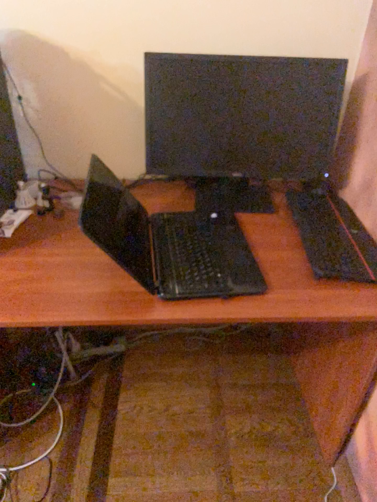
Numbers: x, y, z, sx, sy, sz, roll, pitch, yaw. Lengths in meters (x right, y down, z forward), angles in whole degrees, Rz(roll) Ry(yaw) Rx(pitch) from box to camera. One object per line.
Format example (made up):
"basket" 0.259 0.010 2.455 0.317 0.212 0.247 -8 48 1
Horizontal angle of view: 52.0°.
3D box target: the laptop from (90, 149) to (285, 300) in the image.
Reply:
"laptop" -0.024 -0.085 0.926 0.368 0.181 0.368 -4 34 -5
